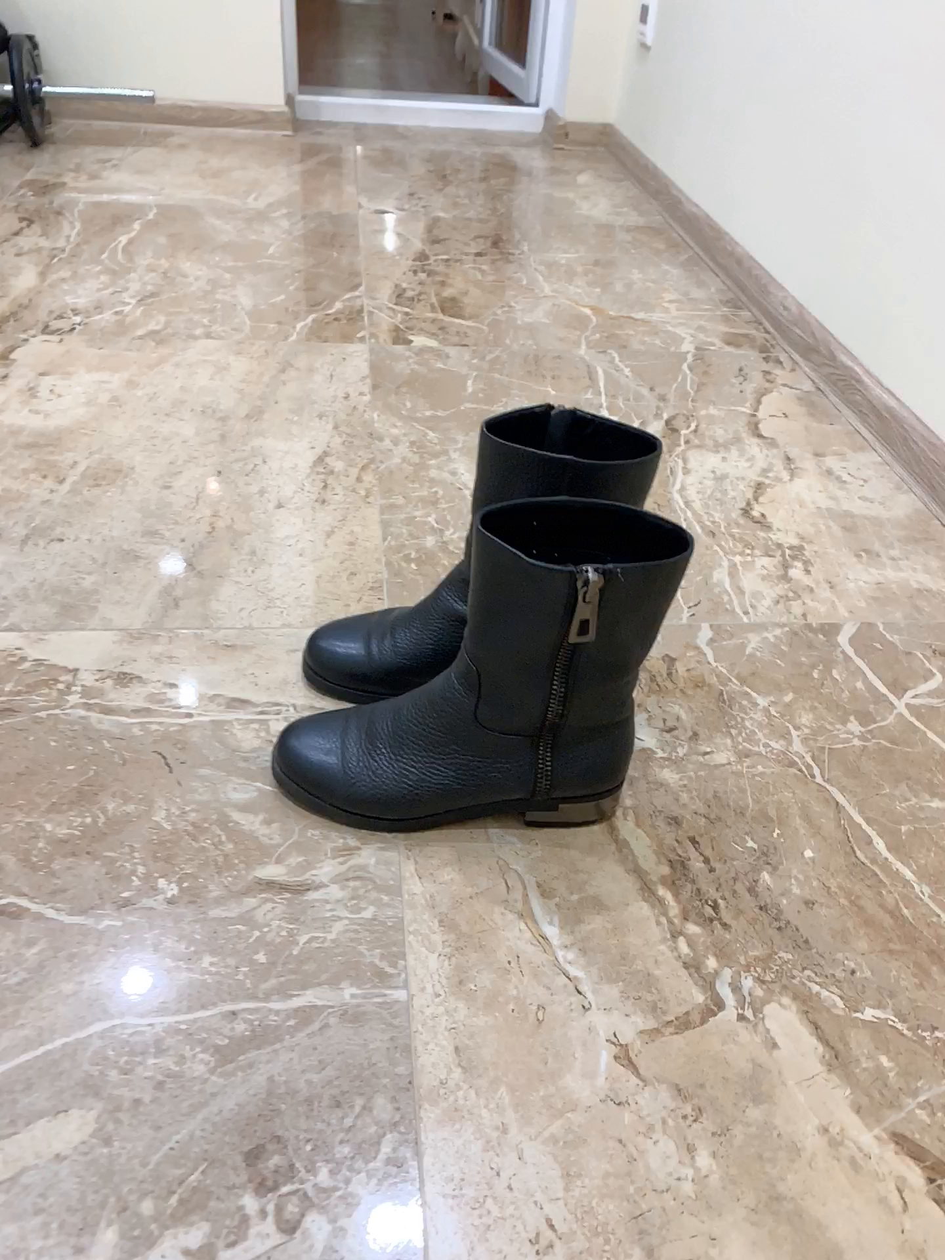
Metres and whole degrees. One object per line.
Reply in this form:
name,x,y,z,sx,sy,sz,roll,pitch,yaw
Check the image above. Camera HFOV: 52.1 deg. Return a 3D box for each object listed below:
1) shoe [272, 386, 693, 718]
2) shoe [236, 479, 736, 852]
shoe,0.000,-0.050,0.694,0.260,0.209,0.091,3,38,-3
shoe,0.001,0.029,0.601,0.260,0.209,0.091,3,38,-3
